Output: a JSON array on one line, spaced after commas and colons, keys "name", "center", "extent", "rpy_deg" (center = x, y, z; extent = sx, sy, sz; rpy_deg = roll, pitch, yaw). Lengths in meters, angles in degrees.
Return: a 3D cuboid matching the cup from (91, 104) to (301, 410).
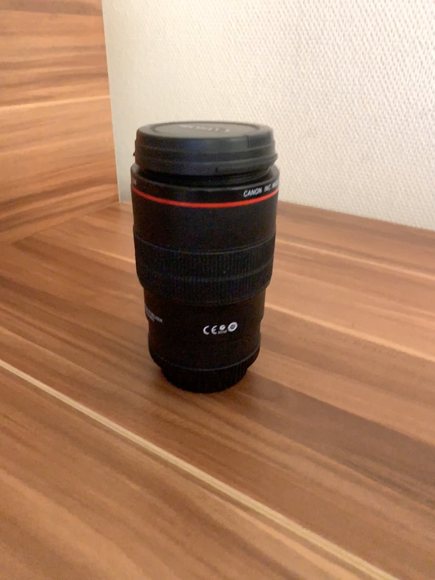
[{"name": "cup", "center": [-0.007, -0.020, 0.244], "extent": [0.080, 0.139, 0.070], "rpy_deg": [9, 30, 14]}]
